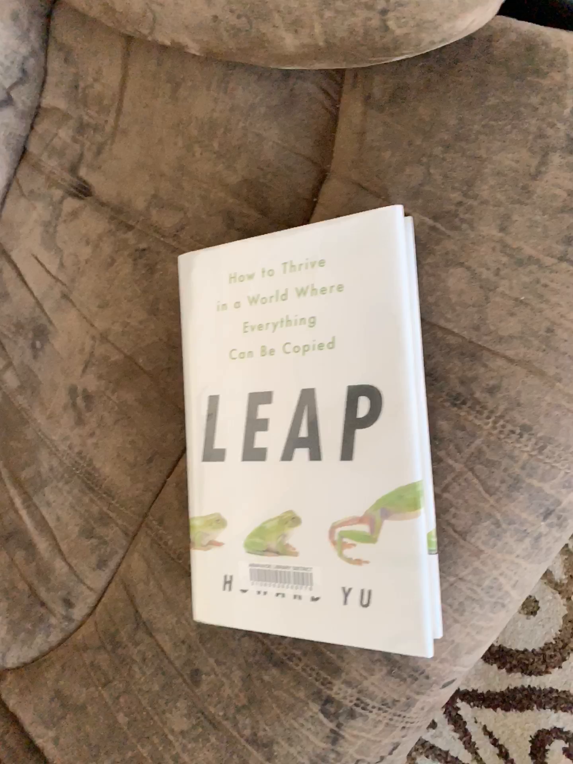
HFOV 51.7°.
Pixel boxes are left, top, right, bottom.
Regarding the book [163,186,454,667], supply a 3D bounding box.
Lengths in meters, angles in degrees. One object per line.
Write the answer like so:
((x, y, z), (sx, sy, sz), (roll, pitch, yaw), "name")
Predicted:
((0.004, 0.026, 0.349), (0.161, 0.040, 0.235), (-6, 84, 32), "book")
